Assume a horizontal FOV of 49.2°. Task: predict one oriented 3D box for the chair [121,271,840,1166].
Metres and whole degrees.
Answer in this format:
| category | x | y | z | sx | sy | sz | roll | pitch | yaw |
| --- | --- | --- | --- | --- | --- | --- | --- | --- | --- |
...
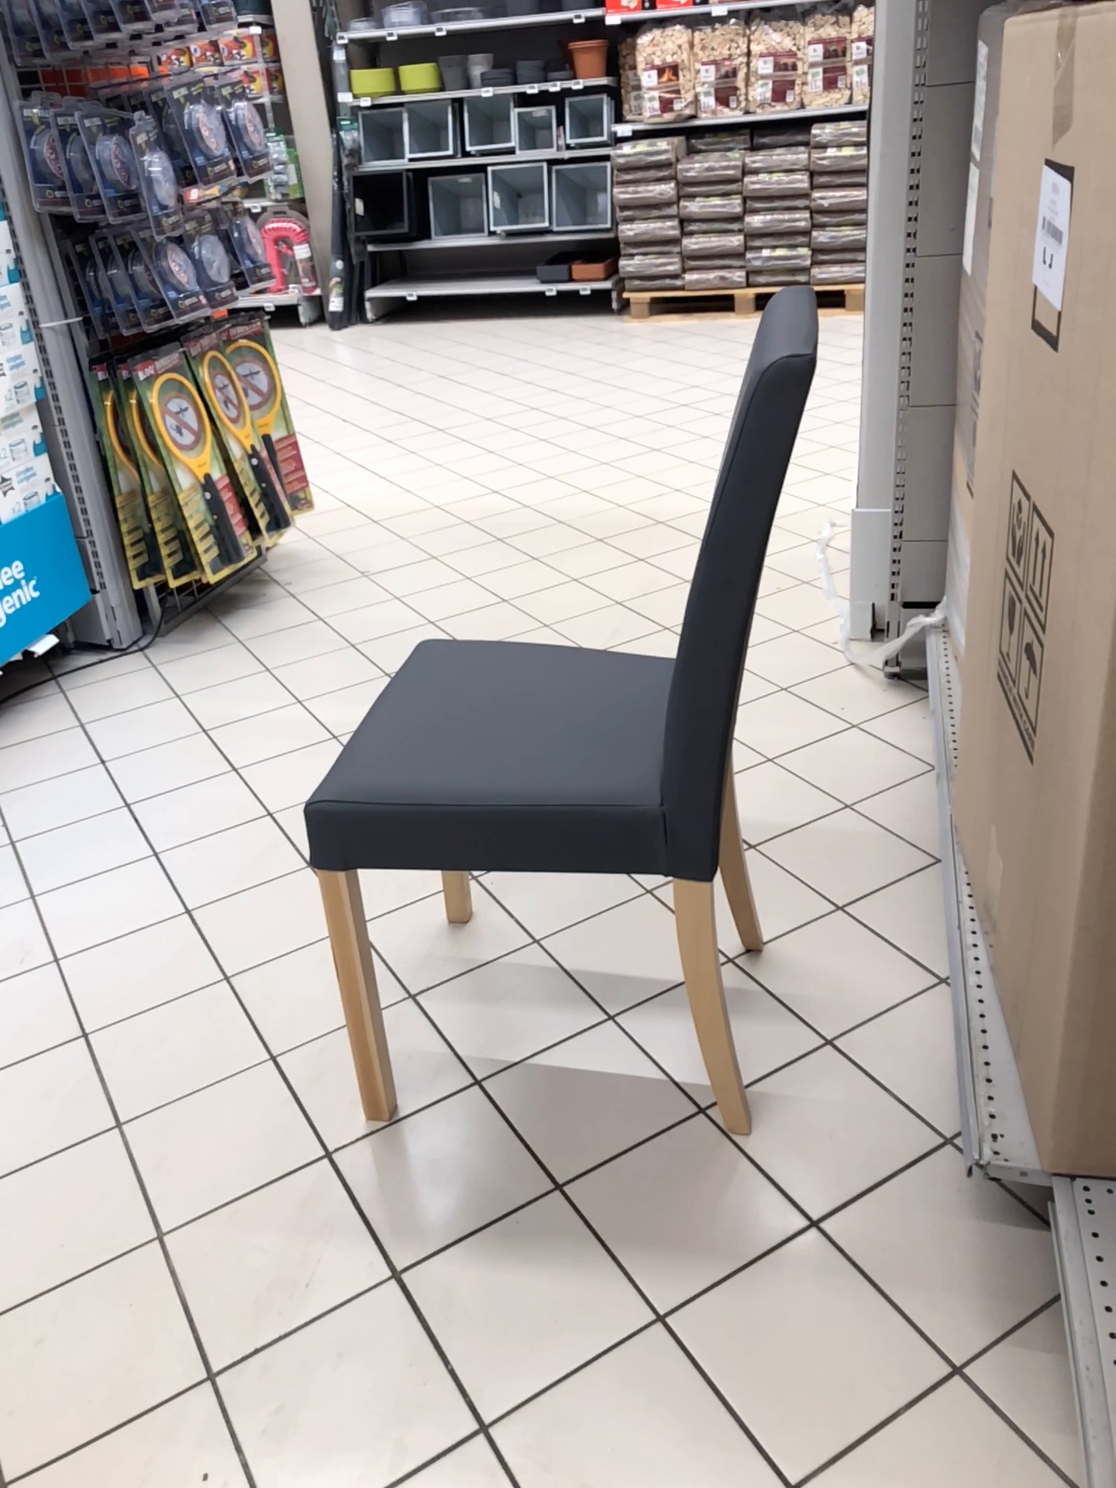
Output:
| category | x | y | z | sx | sy | sz | roll | pitch | yaw |
| --- | --- | --- | --- | --- | --- | --- | --- | --- | --- |
| chair | -0.015 | -0.031 | 1.346 | 0.570 | 0.826 | 0.473 | -4 | 26 | 5 |
